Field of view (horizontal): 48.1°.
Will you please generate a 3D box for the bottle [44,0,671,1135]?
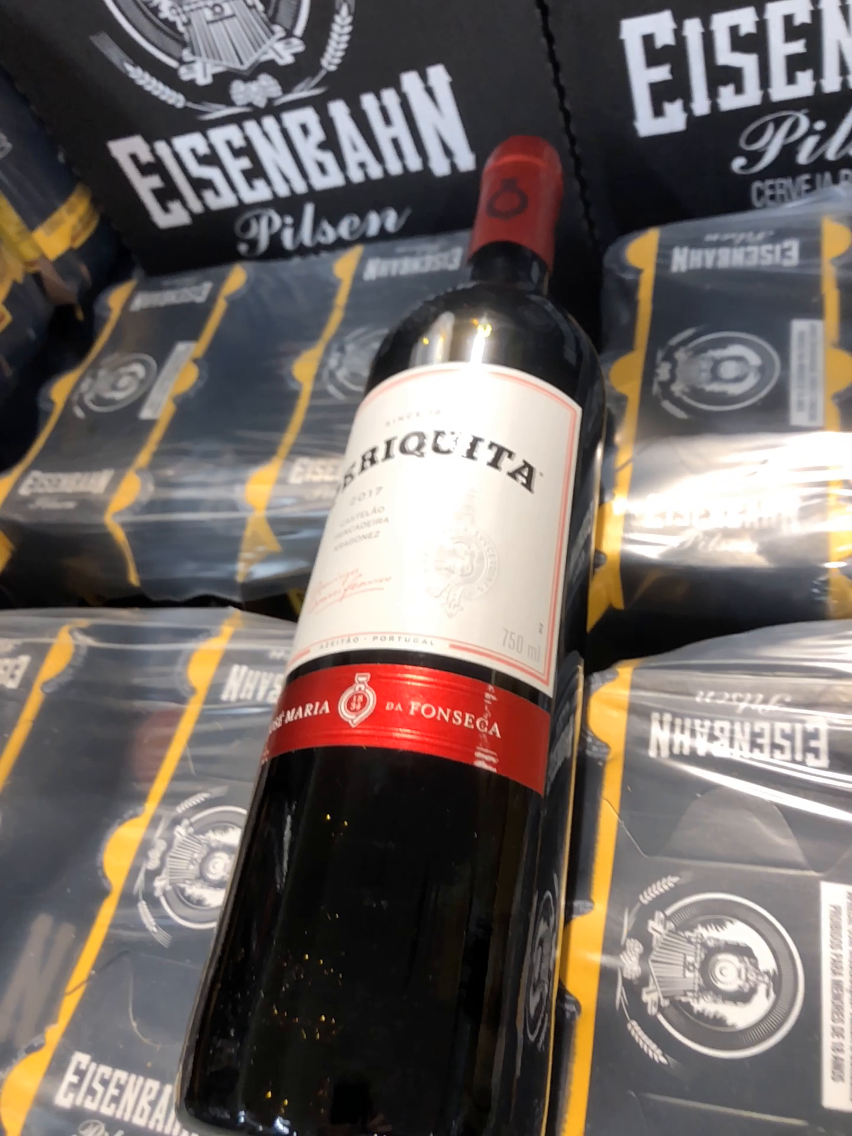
[{"bbox_3d":[0.016,-0.028,0.253,0.080,0.070,0.332,-2,55,20],"label":"bottle"}]
